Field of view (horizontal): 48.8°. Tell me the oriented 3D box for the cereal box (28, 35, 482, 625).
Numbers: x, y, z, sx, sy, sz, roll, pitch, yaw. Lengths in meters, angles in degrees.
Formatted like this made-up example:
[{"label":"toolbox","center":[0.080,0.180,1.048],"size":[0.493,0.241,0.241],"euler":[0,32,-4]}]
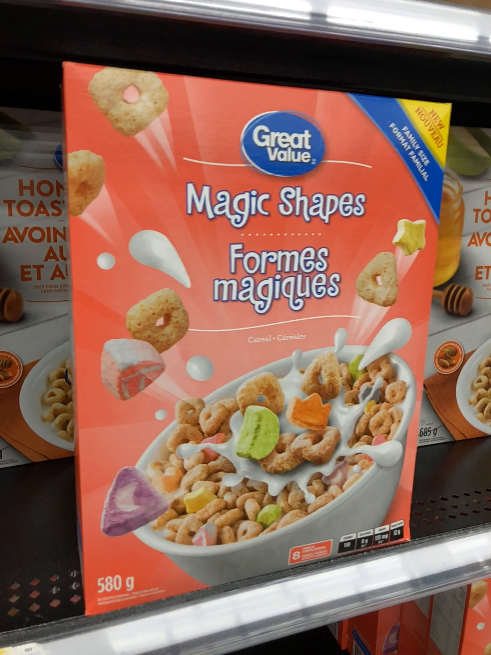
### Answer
[{"label":"cereal box","center":[0.007,0.005,0.360],"size":[0.260,0.318,0.070],"euler":[-4,16,-21]}]
